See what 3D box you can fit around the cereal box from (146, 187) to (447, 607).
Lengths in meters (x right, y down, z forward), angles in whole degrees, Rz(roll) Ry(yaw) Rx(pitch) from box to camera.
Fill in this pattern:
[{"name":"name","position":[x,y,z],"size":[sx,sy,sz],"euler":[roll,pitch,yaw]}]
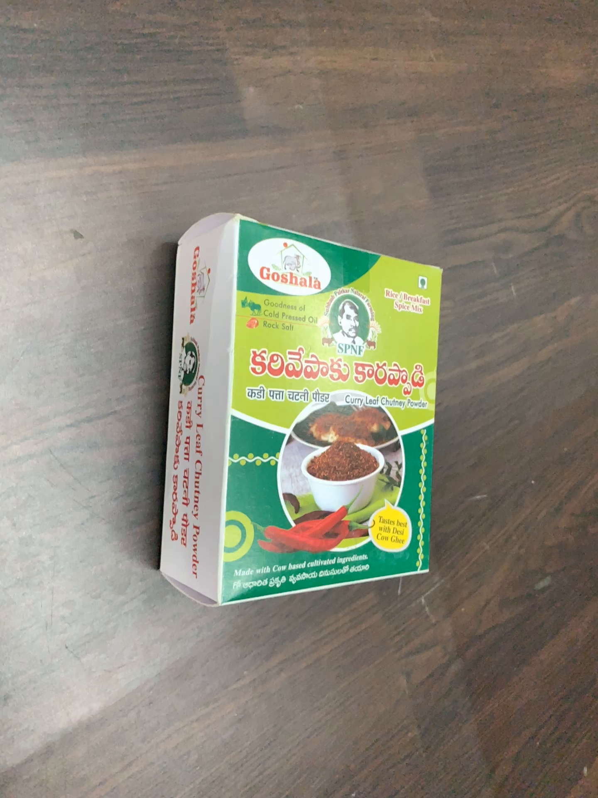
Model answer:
[{"name":"cereal box","position":[0.002,0.001,0.223],"size":[0.100,0.040,0.120],"euler":[2,88,-35]}]
